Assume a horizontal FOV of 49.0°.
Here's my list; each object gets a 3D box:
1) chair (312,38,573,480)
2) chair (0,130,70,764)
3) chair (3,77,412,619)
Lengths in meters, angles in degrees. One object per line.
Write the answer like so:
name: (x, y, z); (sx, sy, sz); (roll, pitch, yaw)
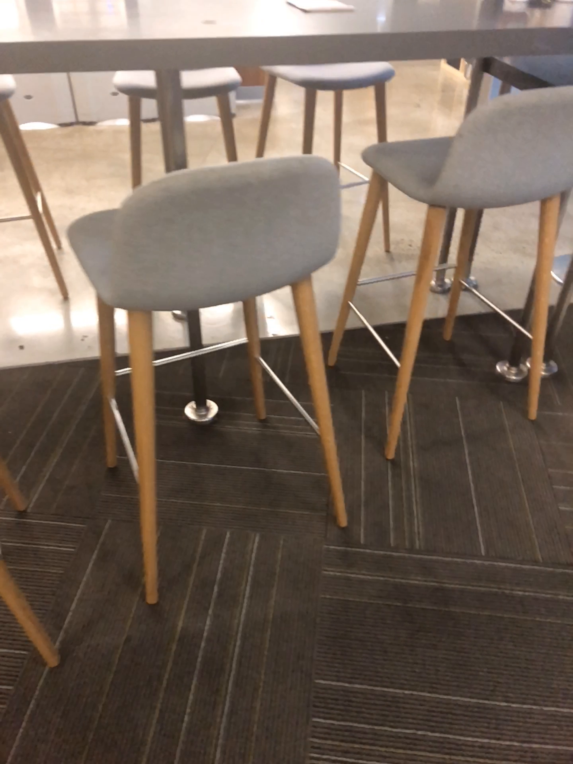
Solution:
chair: (0.440, -0.338, 1.785); (0.541, 1.031, 0.544); (-12, 39, -16)
chair: (-0.810, 0.150, 1.109); (0.572, 0.942, 0.543); (-15, 40, -19)
chair: (-0.175, -0.078, 1.384); (0.572, 0.942, 0.543); (-15, 40, -19)
